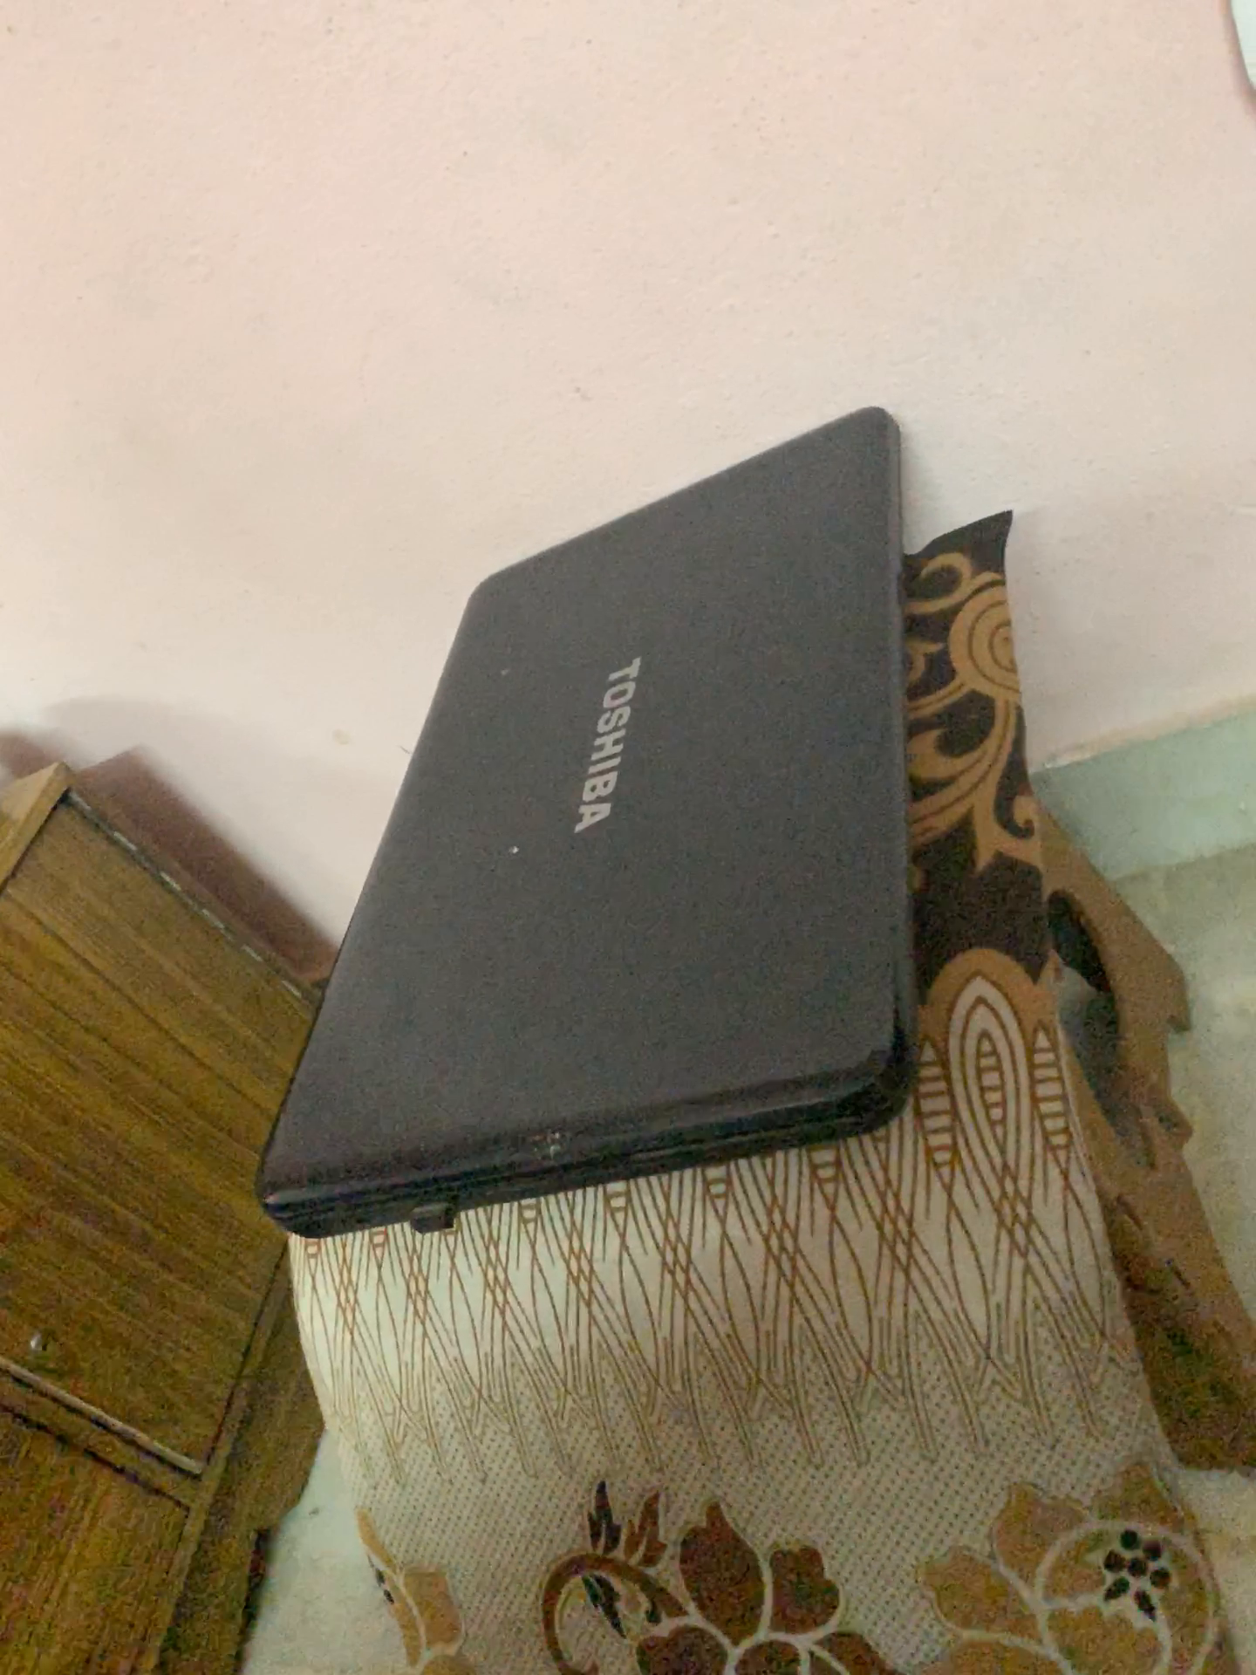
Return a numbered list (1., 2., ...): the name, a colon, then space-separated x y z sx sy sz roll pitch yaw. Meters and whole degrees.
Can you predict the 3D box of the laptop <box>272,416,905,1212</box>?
1. laptop: -0.001 -0.034 0.508 0.223 0.001 0.371 -18 38 26
